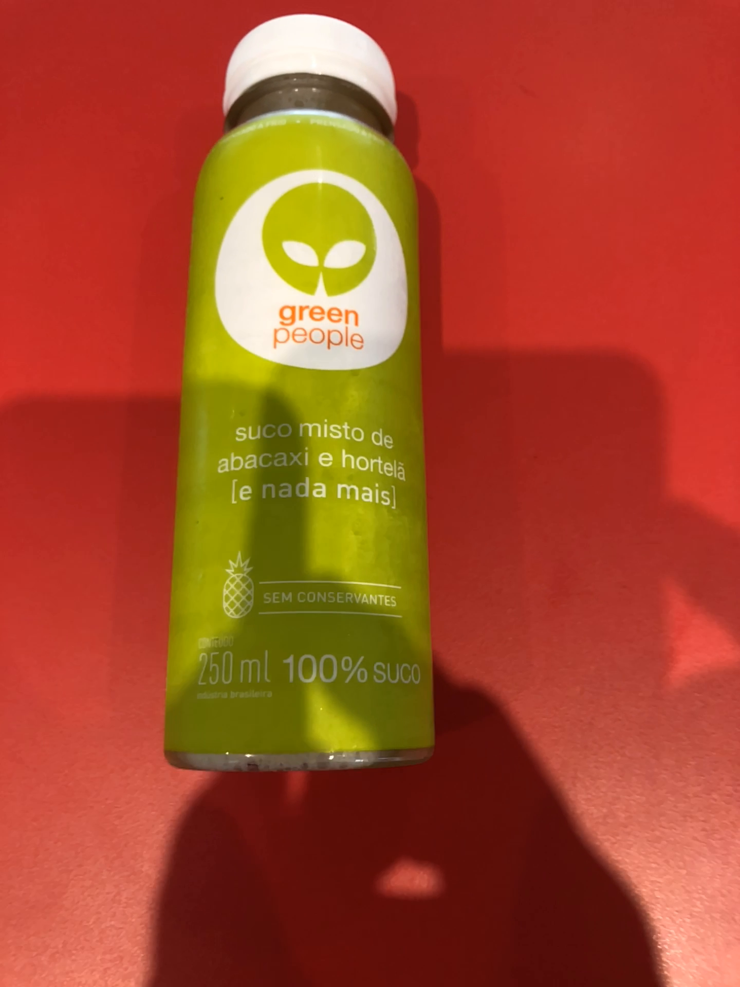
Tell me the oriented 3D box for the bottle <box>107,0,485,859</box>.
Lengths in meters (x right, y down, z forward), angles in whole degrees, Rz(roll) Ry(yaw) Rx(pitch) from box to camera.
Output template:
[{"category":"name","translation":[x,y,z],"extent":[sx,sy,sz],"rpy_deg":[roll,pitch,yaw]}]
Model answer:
[{"category":"bottle","translation":[-0.015,-0.023,0.172],"extent":[0.060,0.050,0.170],"rpy_deg":[1,80,-9]}]
